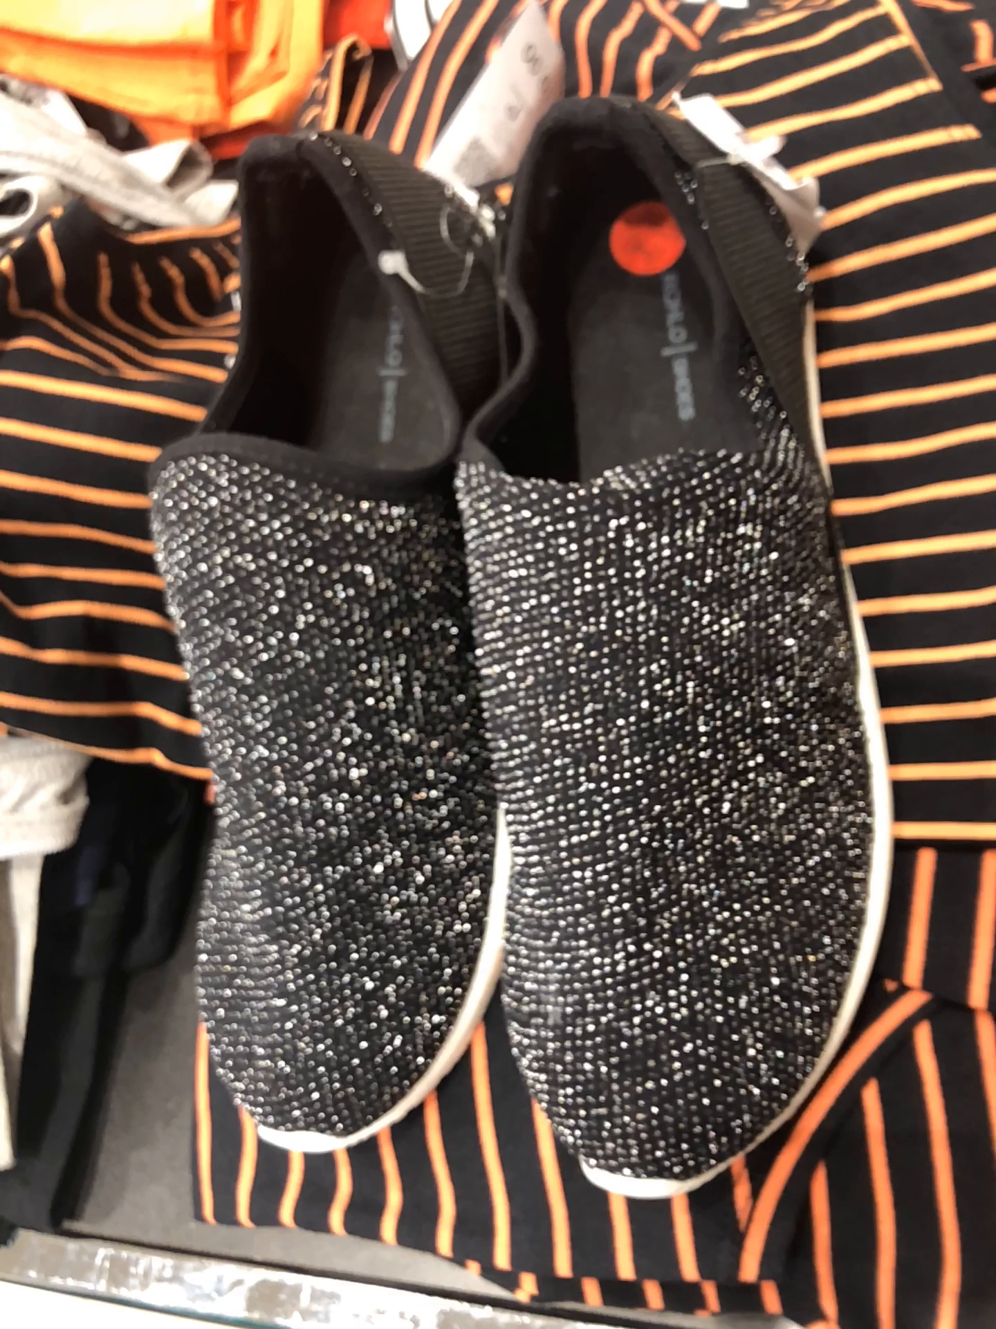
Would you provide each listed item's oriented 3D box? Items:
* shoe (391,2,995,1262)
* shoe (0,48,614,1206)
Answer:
[{"bbox_3d":[0.051,-0.008,0.262,0.100,0.110,0.241,-3,69,16],"label":"shoe"},{"bbox_3d":[-0.036,-0.009,0.280,0.100,0.110,0.240,-1,70,17],"label":"shoe"}]
